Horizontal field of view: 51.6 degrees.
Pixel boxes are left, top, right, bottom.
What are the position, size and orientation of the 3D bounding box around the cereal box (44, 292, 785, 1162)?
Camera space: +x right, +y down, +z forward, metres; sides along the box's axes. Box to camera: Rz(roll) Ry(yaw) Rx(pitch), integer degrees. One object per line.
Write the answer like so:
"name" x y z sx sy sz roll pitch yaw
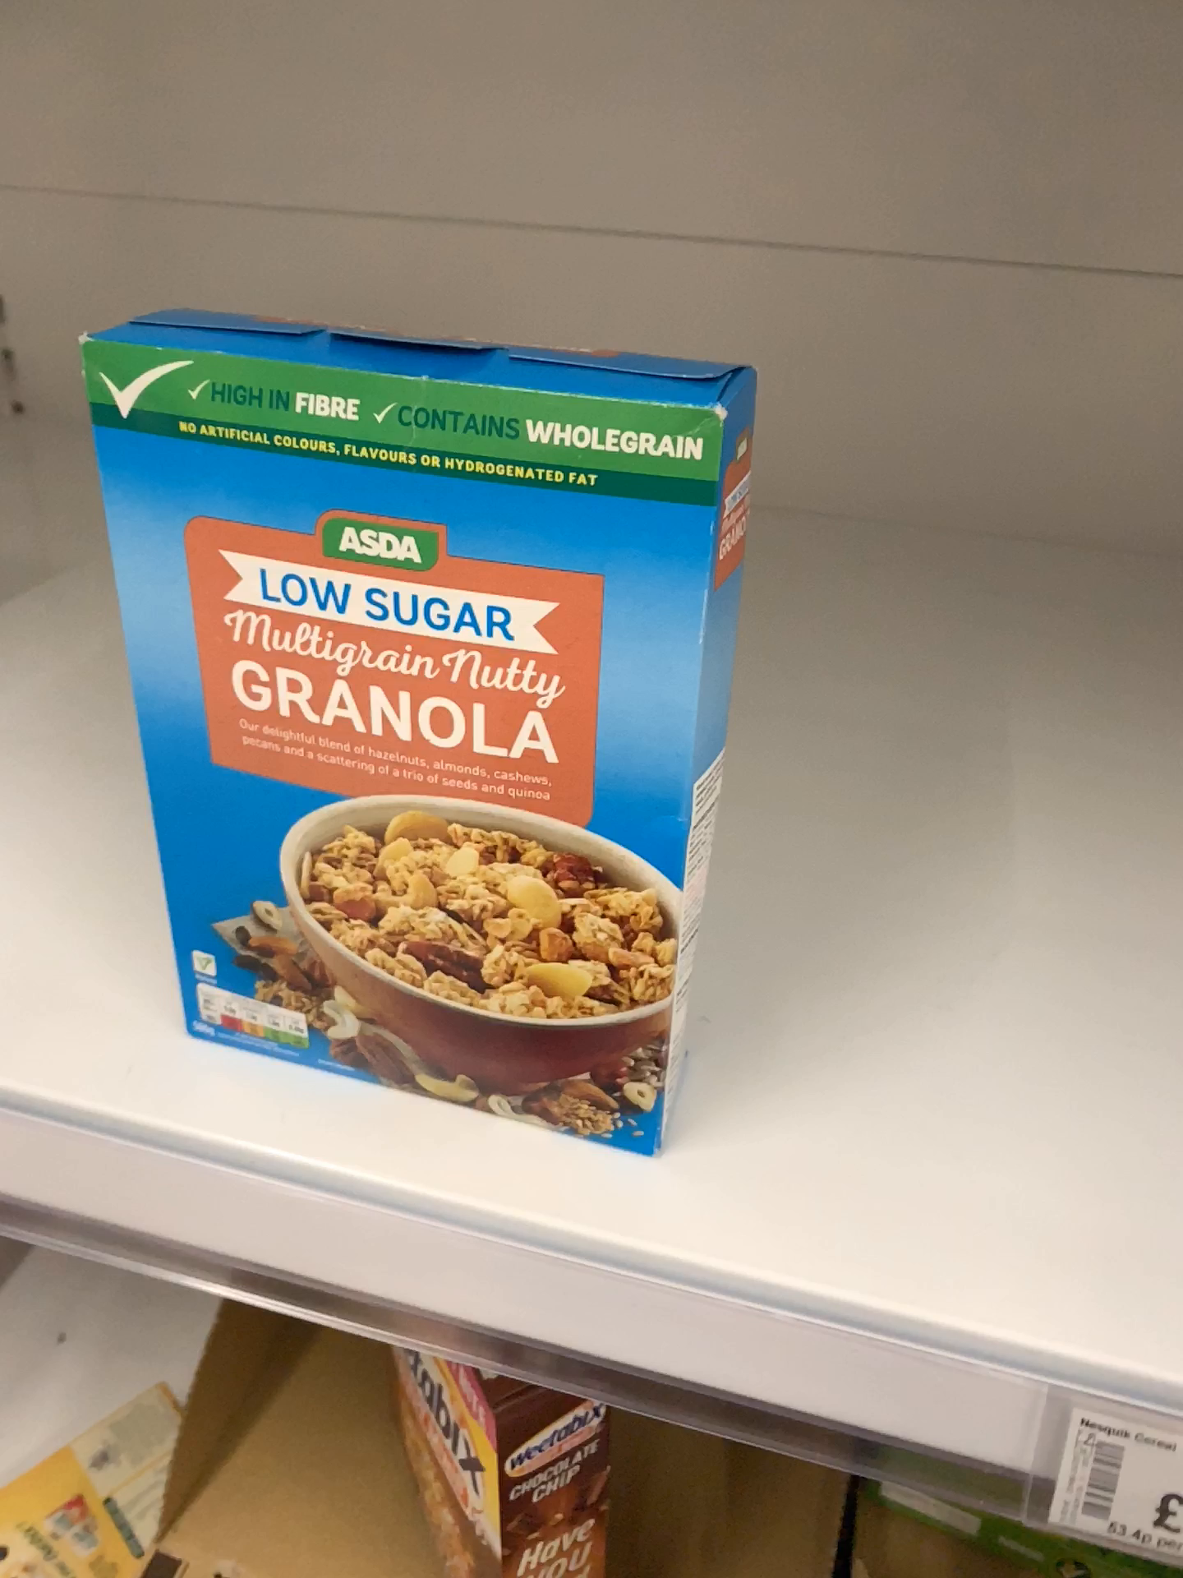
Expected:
"cereal box" -0.052 -0.014 0.393 0.190 0.248 0.061 11 32 14
